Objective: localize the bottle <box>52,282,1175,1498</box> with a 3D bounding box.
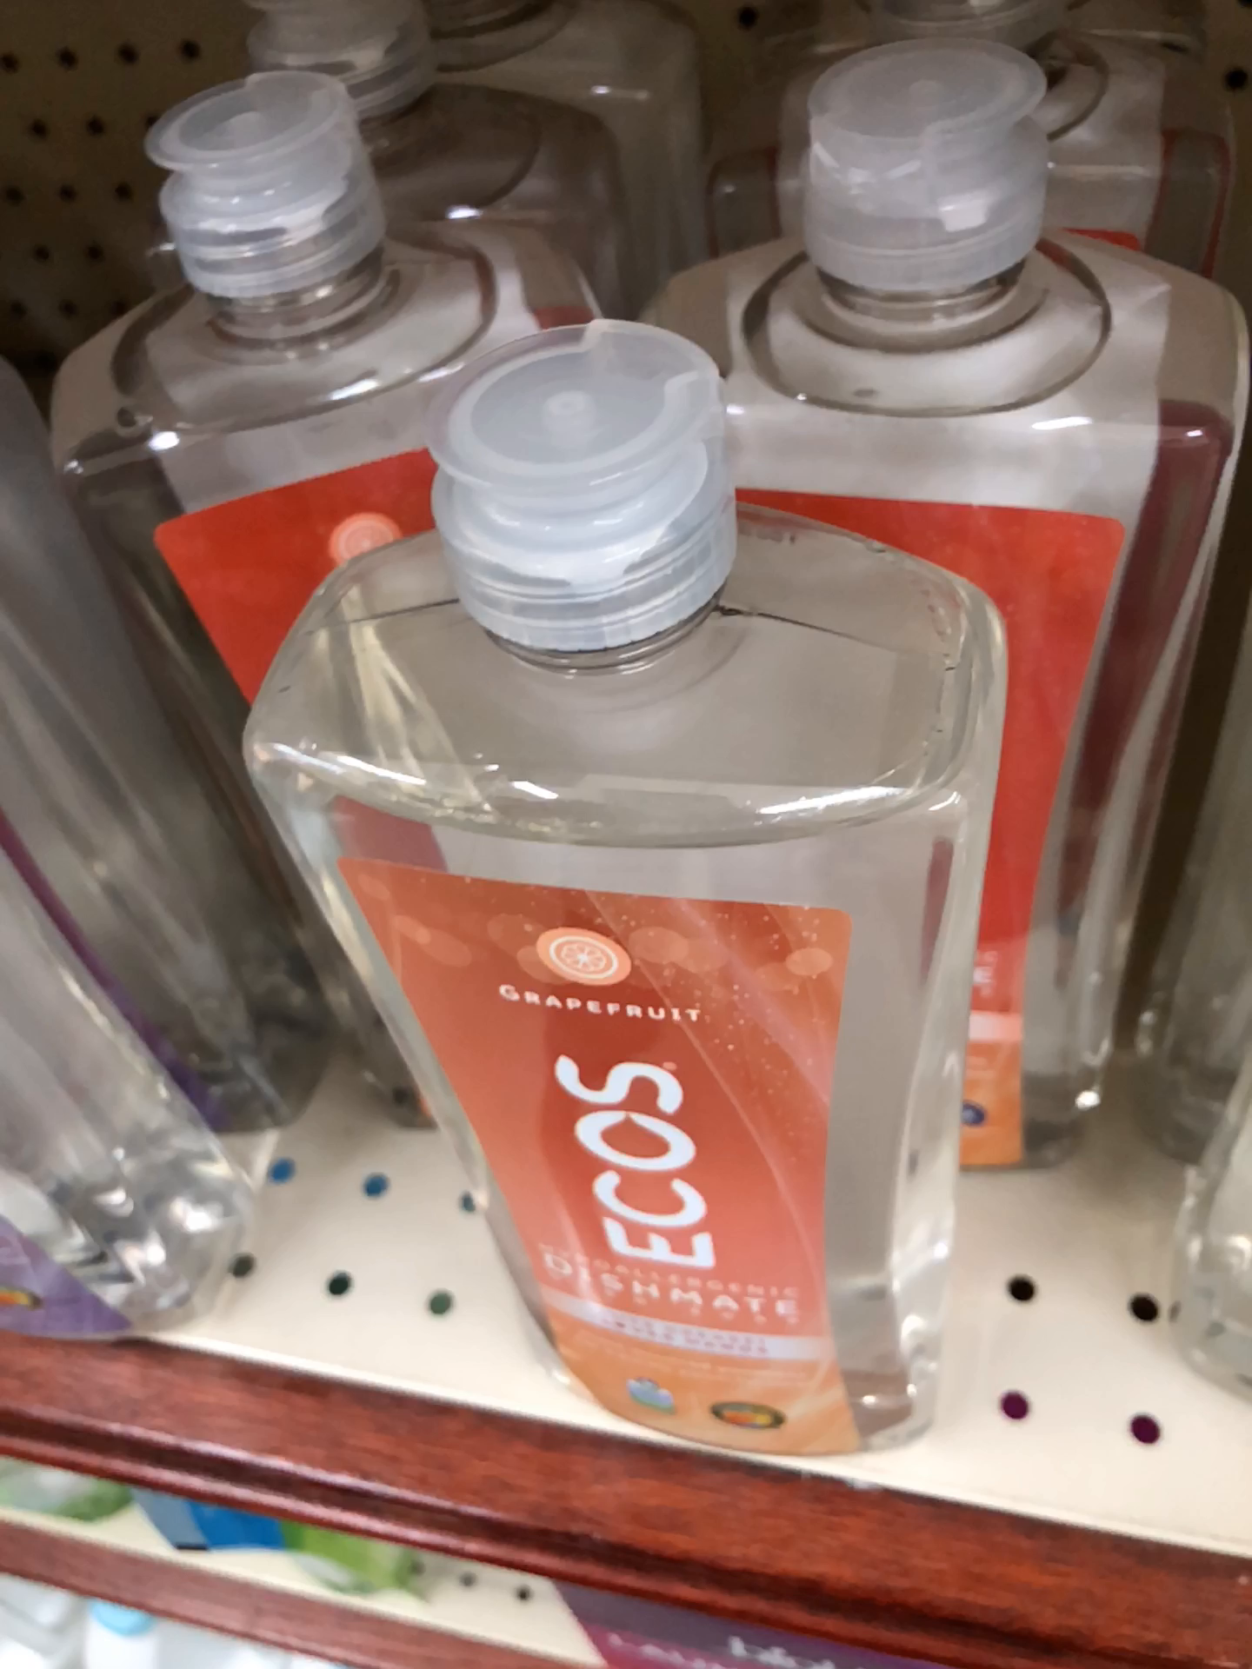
[{"bbox_3d":[0.015,0.033,0.212,0.092,0.220,0.050,5,52,14],"label":"bottle"}]
